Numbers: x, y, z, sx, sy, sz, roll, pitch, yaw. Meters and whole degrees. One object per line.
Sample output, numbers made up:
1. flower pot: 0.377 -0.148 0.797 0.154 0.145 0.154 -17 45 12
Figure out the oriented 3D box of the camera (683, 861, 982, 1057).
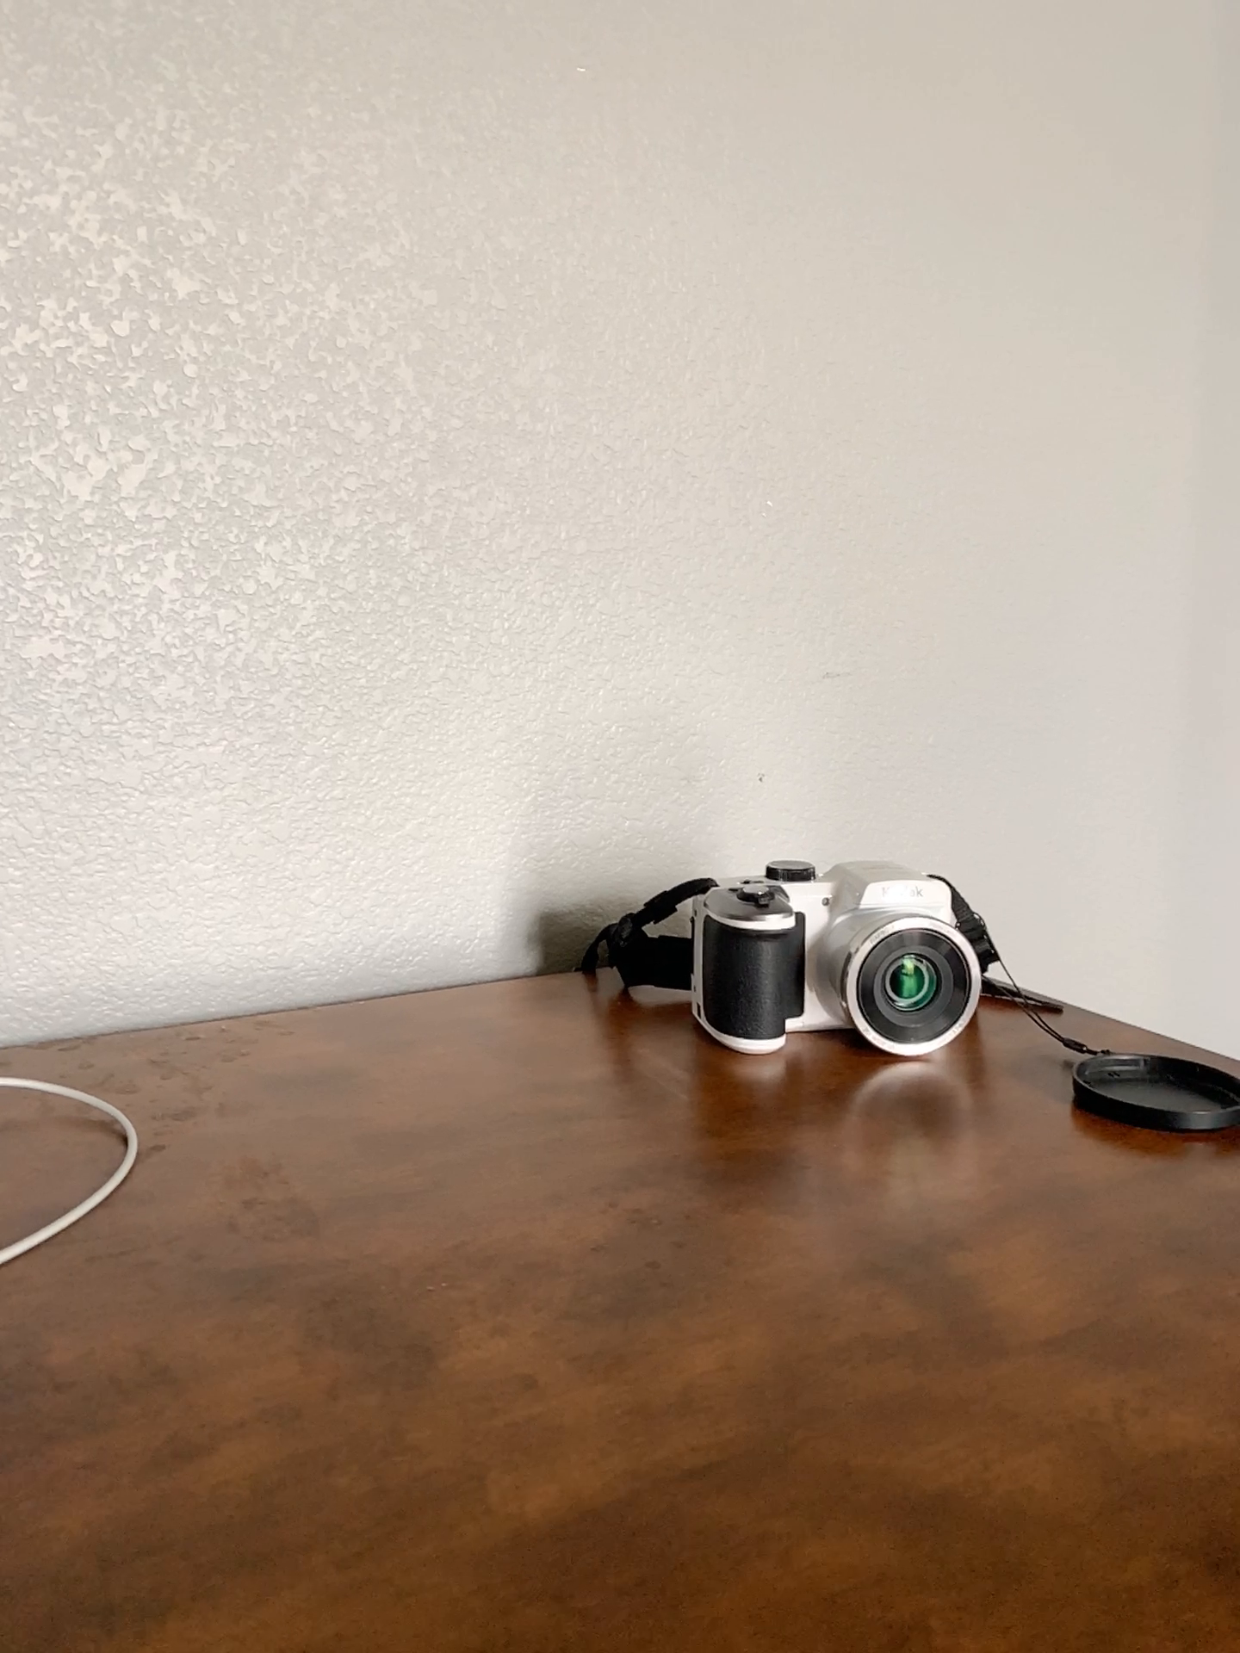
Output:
1. camera: 0.091 0.057 0.568 0.119 0.071 0.070 0 7 -2
